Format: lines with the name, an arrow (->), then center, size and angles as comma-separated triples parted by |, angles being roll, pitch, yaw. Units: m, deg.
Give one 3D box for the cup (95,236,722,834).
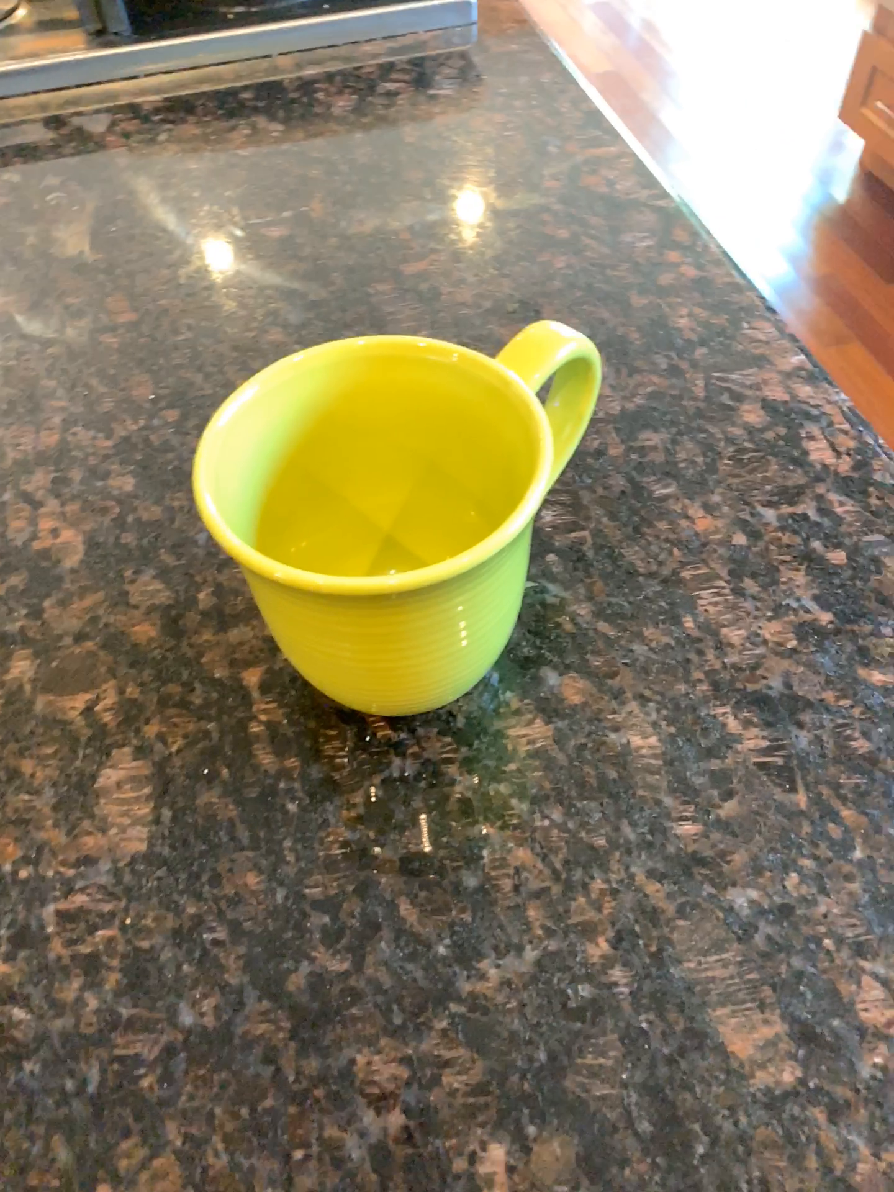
cup -> -0.006, -0.028, 0.296 | 0.110, 0.080, 0.150 | 33, 61, 24
